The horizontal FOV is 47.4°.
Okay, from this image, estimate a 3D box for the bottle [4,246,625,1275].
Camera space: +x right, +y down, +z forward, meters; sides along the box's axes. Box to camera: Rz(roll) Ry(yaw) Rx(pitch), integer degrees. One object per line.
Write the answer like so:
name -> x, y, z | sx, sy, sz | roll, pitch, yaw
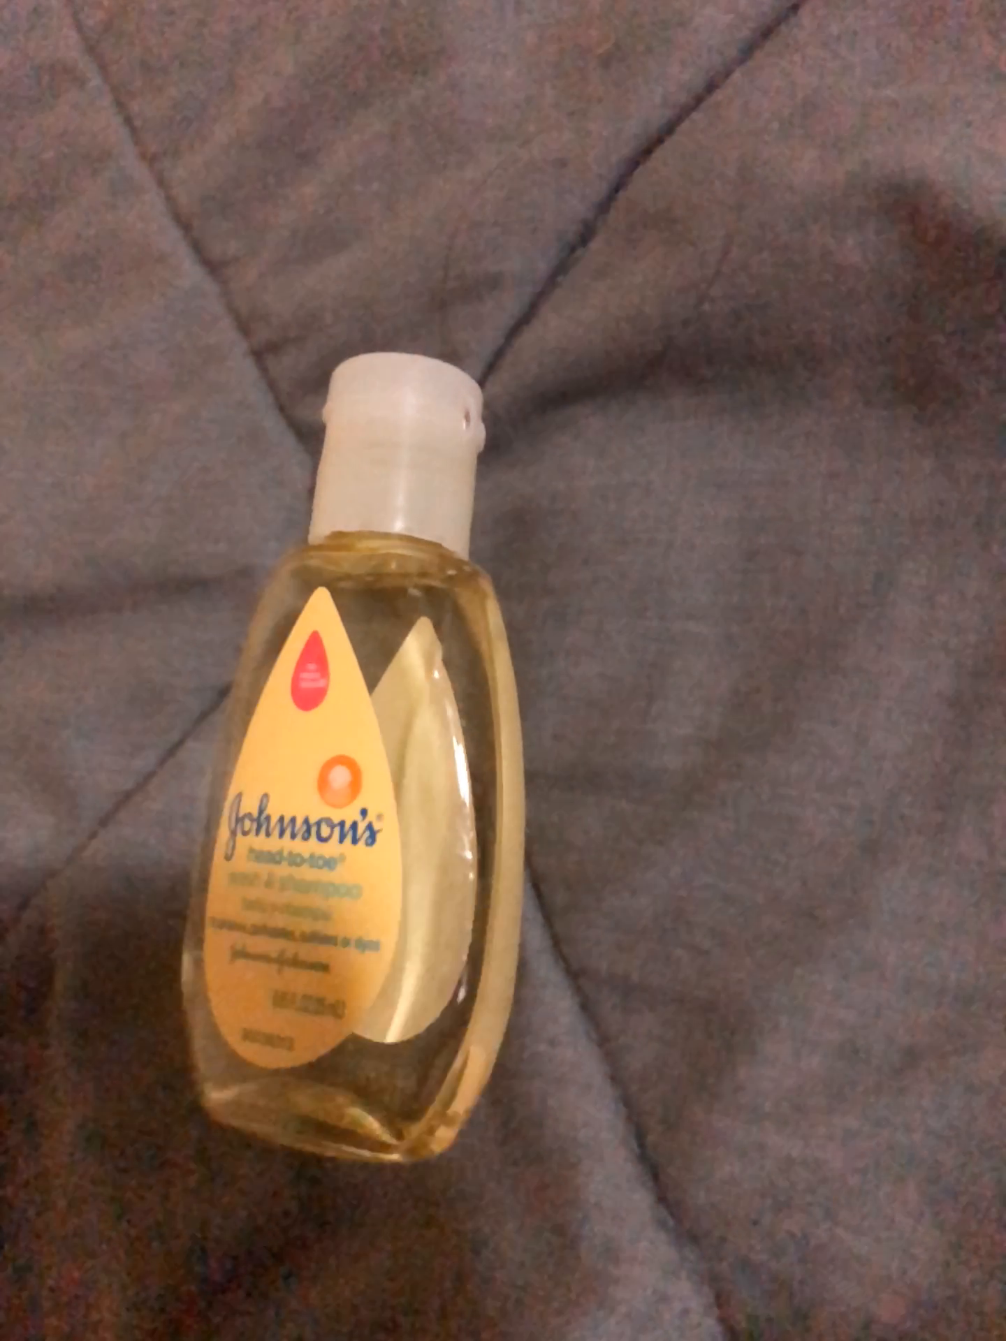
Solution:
bottle -> -0.019, 0.006, 0.121 | 0.050, 0.020, 0.090 | 0, 76, 34
